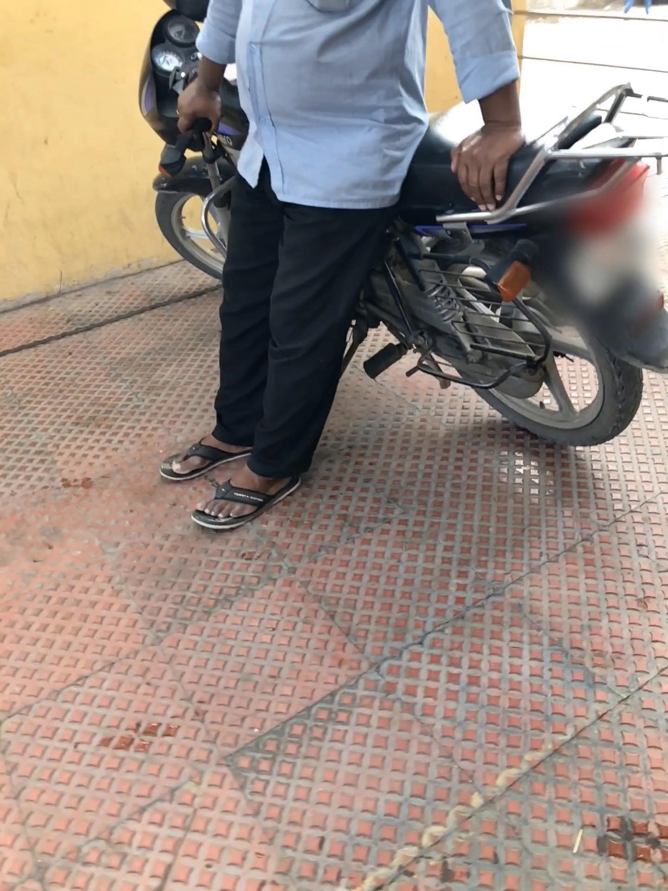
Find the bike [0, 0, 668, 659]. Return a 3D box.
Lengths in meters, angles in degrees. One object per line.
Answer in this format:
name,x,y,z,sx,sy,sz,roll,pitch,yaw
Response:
bike,-0.159,-0.577,1.671,1.676,1.007,0.925,29,48,36
